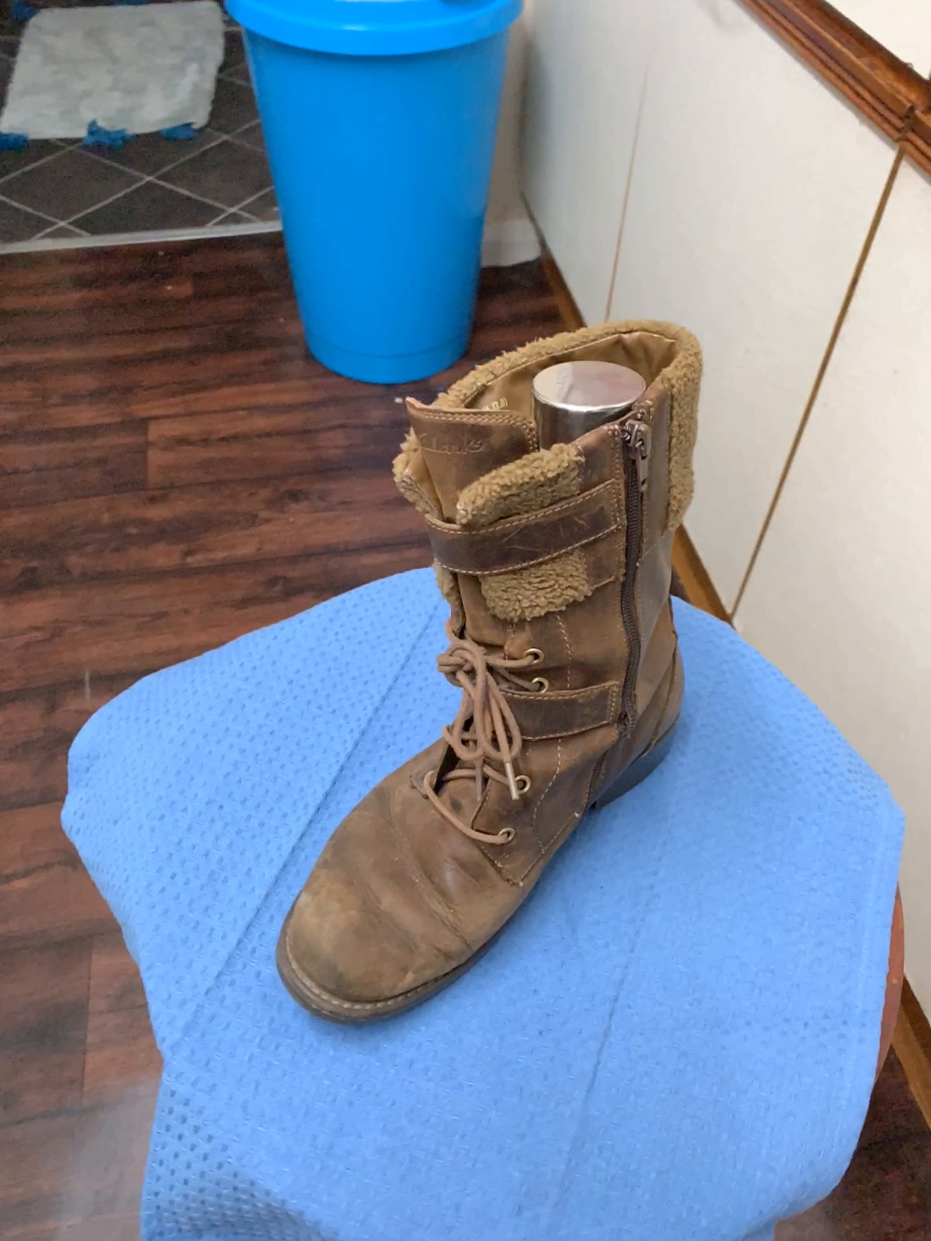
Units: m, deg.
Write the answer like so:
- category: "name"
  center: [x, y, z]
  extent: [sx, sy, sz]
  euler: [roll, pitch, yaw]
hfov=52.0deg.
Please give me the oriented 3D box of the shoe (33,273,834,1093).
- category: "shoe"
  center: [0.003, 0.022, 0.402]
  extent: [0.251, 0.228, 0.121]
  euler: [-31, 50, -25]
